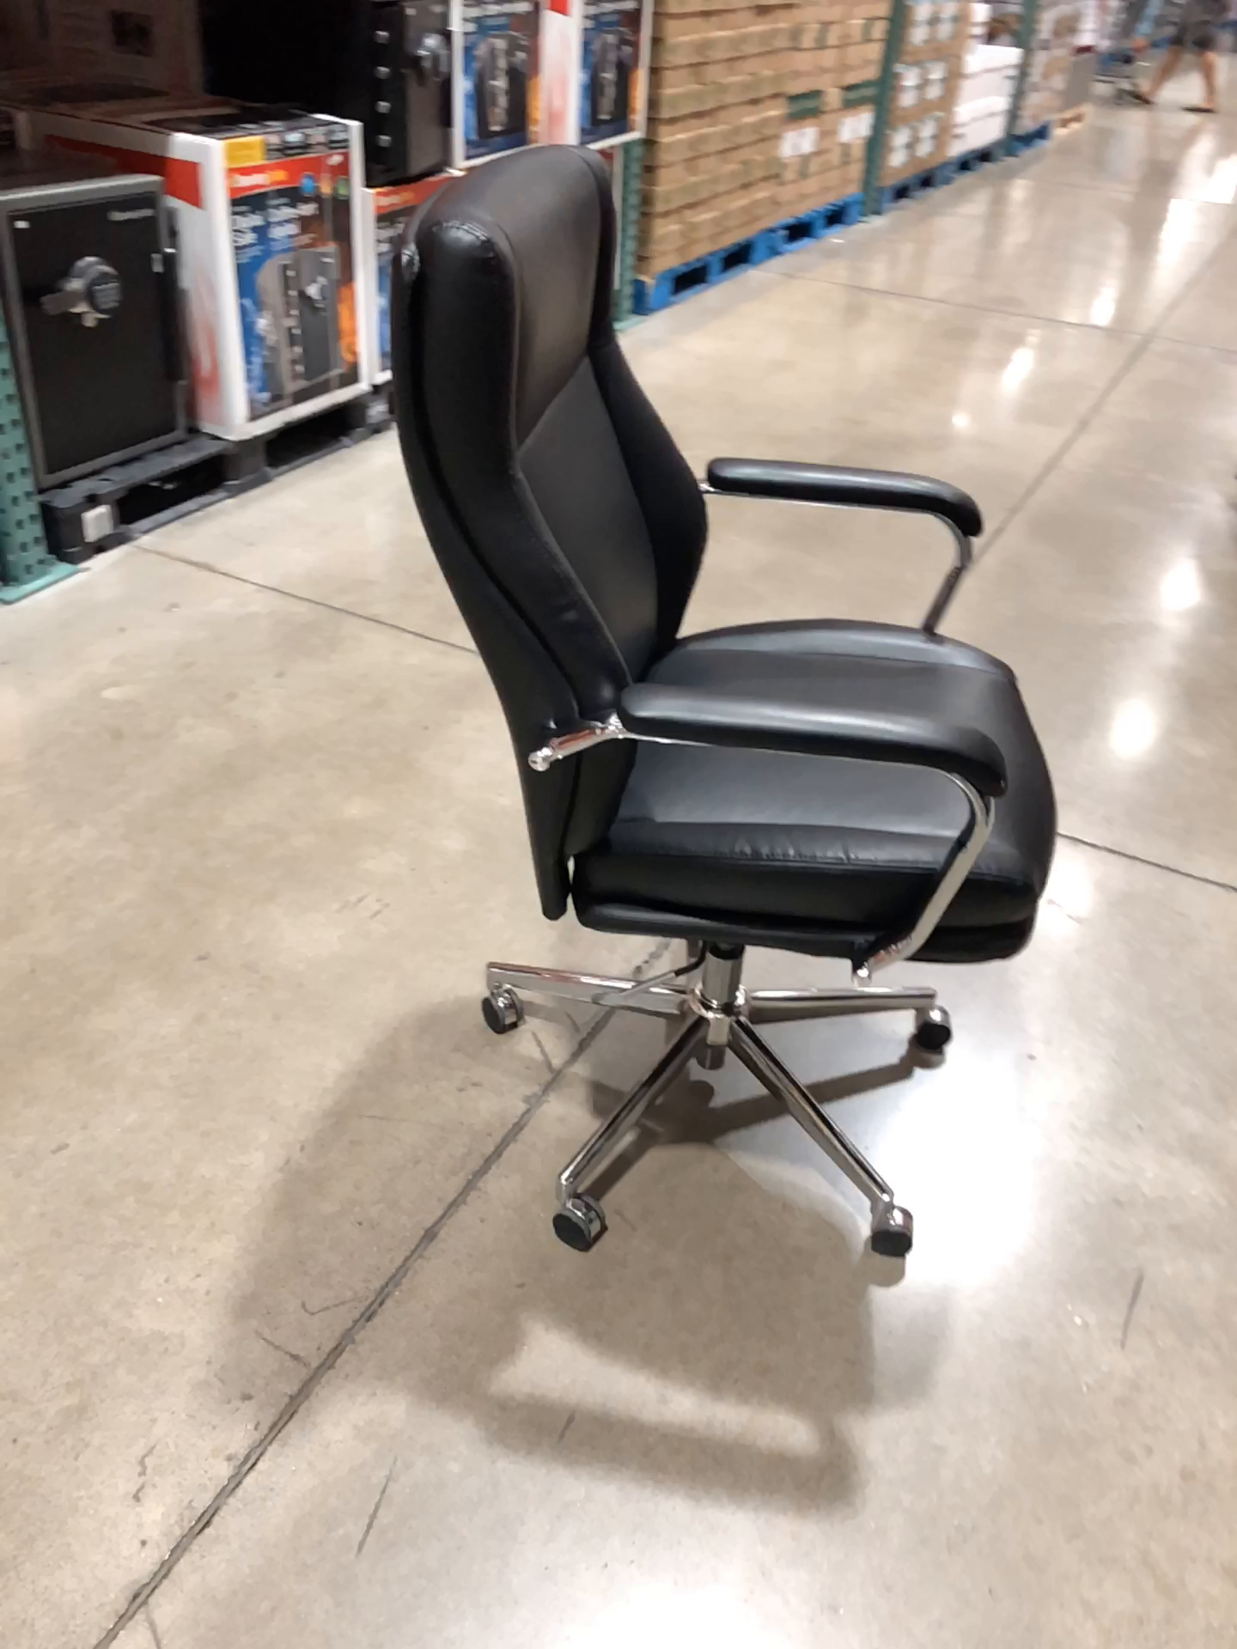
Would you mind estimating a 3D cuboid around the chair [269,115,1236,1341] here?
[{"bbox_3d":[0.134,-0.130,1.503,0.700,1.045,0.713,9,34,8],"label":"chair"}]
